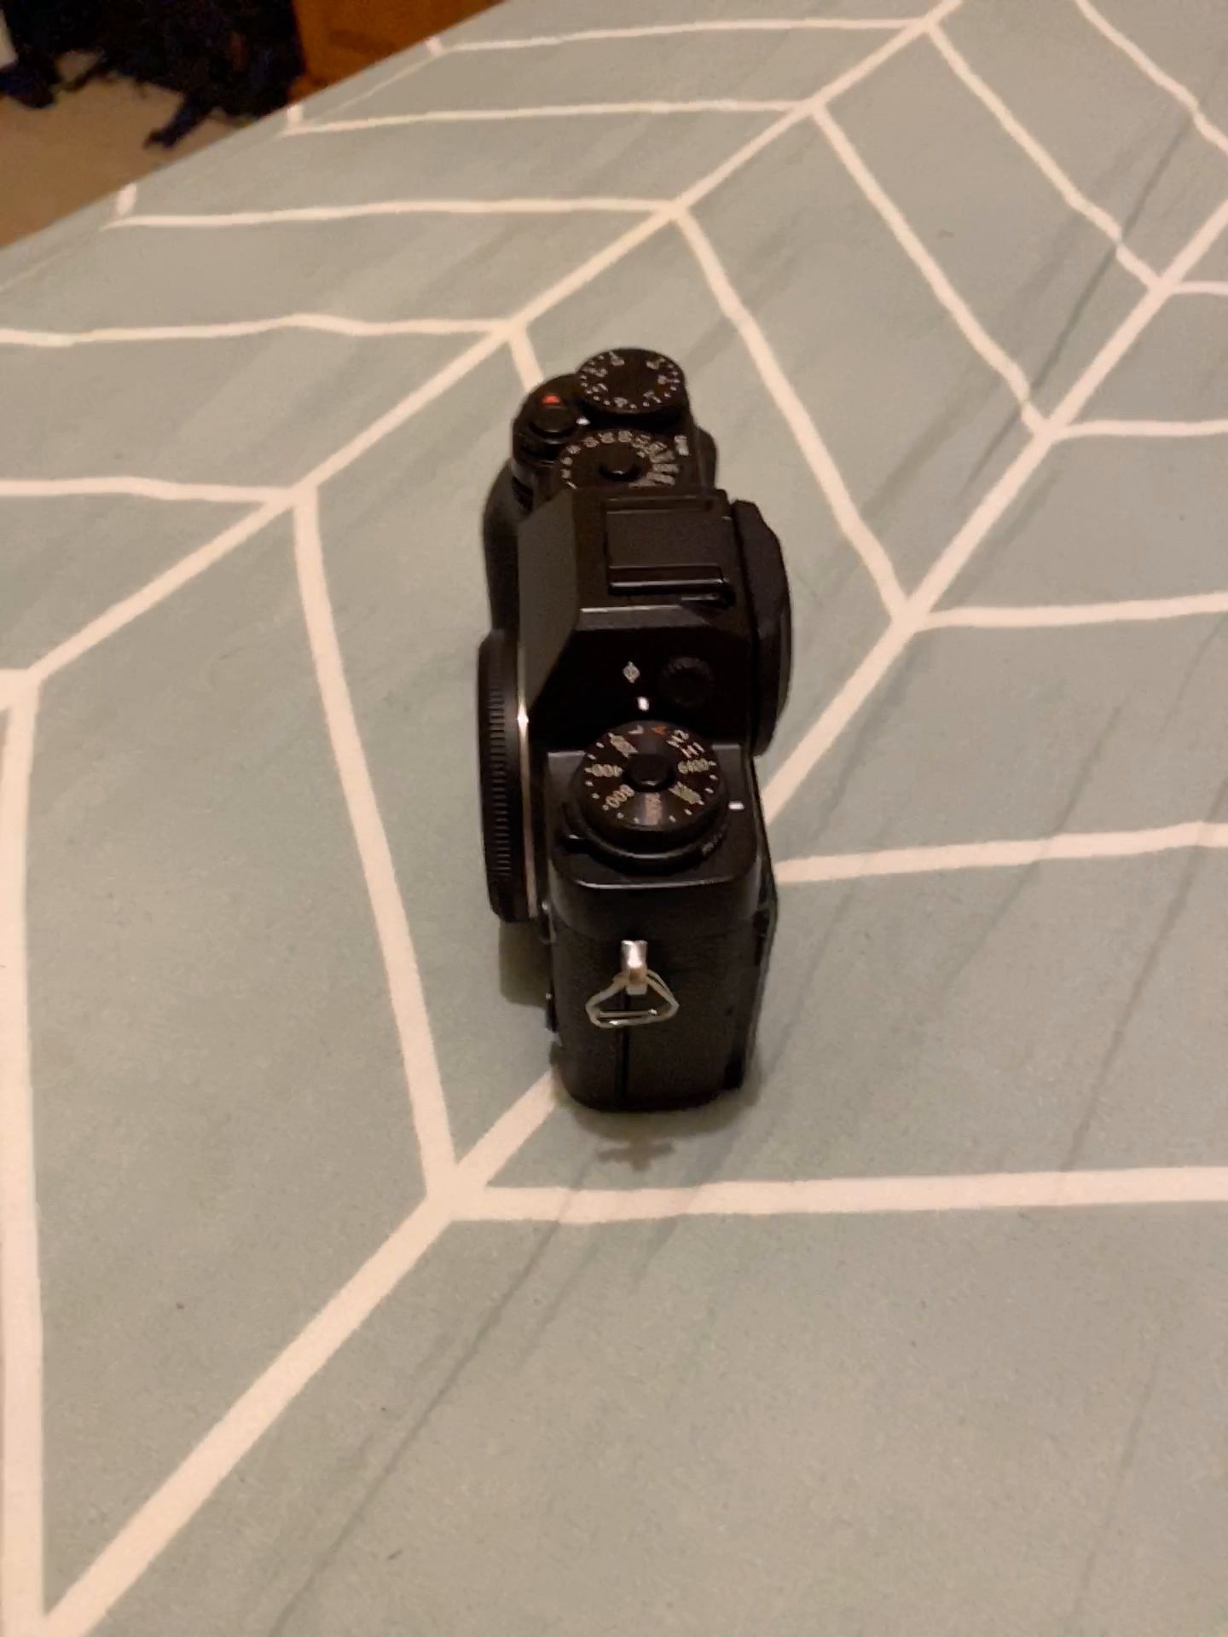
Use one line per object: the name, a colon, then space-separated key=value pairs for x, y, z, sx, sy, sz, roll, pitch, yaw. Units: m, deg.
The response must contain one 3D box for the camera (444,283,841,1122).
camera: x=0.000 y=-0.024 z=0.239 sx=0.051 sy=0.087 sz=0.131 roll=-3 pitch=52 yaw=-2
